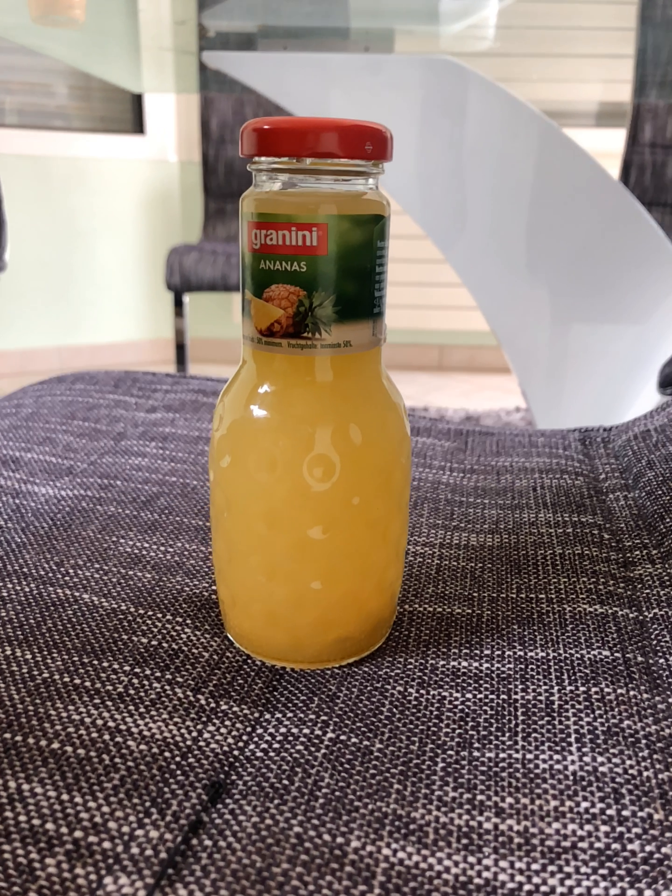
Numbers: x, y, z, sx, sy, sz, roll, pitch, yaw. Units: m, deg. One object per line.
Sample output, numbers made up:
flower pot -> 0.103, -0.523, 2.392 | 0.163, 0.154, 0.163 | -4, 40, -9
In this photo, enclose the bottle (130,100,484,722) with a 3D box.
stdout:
bottle -> -0.005, -0.014, 0.217 | 0.070, 0.149, 0.070 | 1, 18, 0
